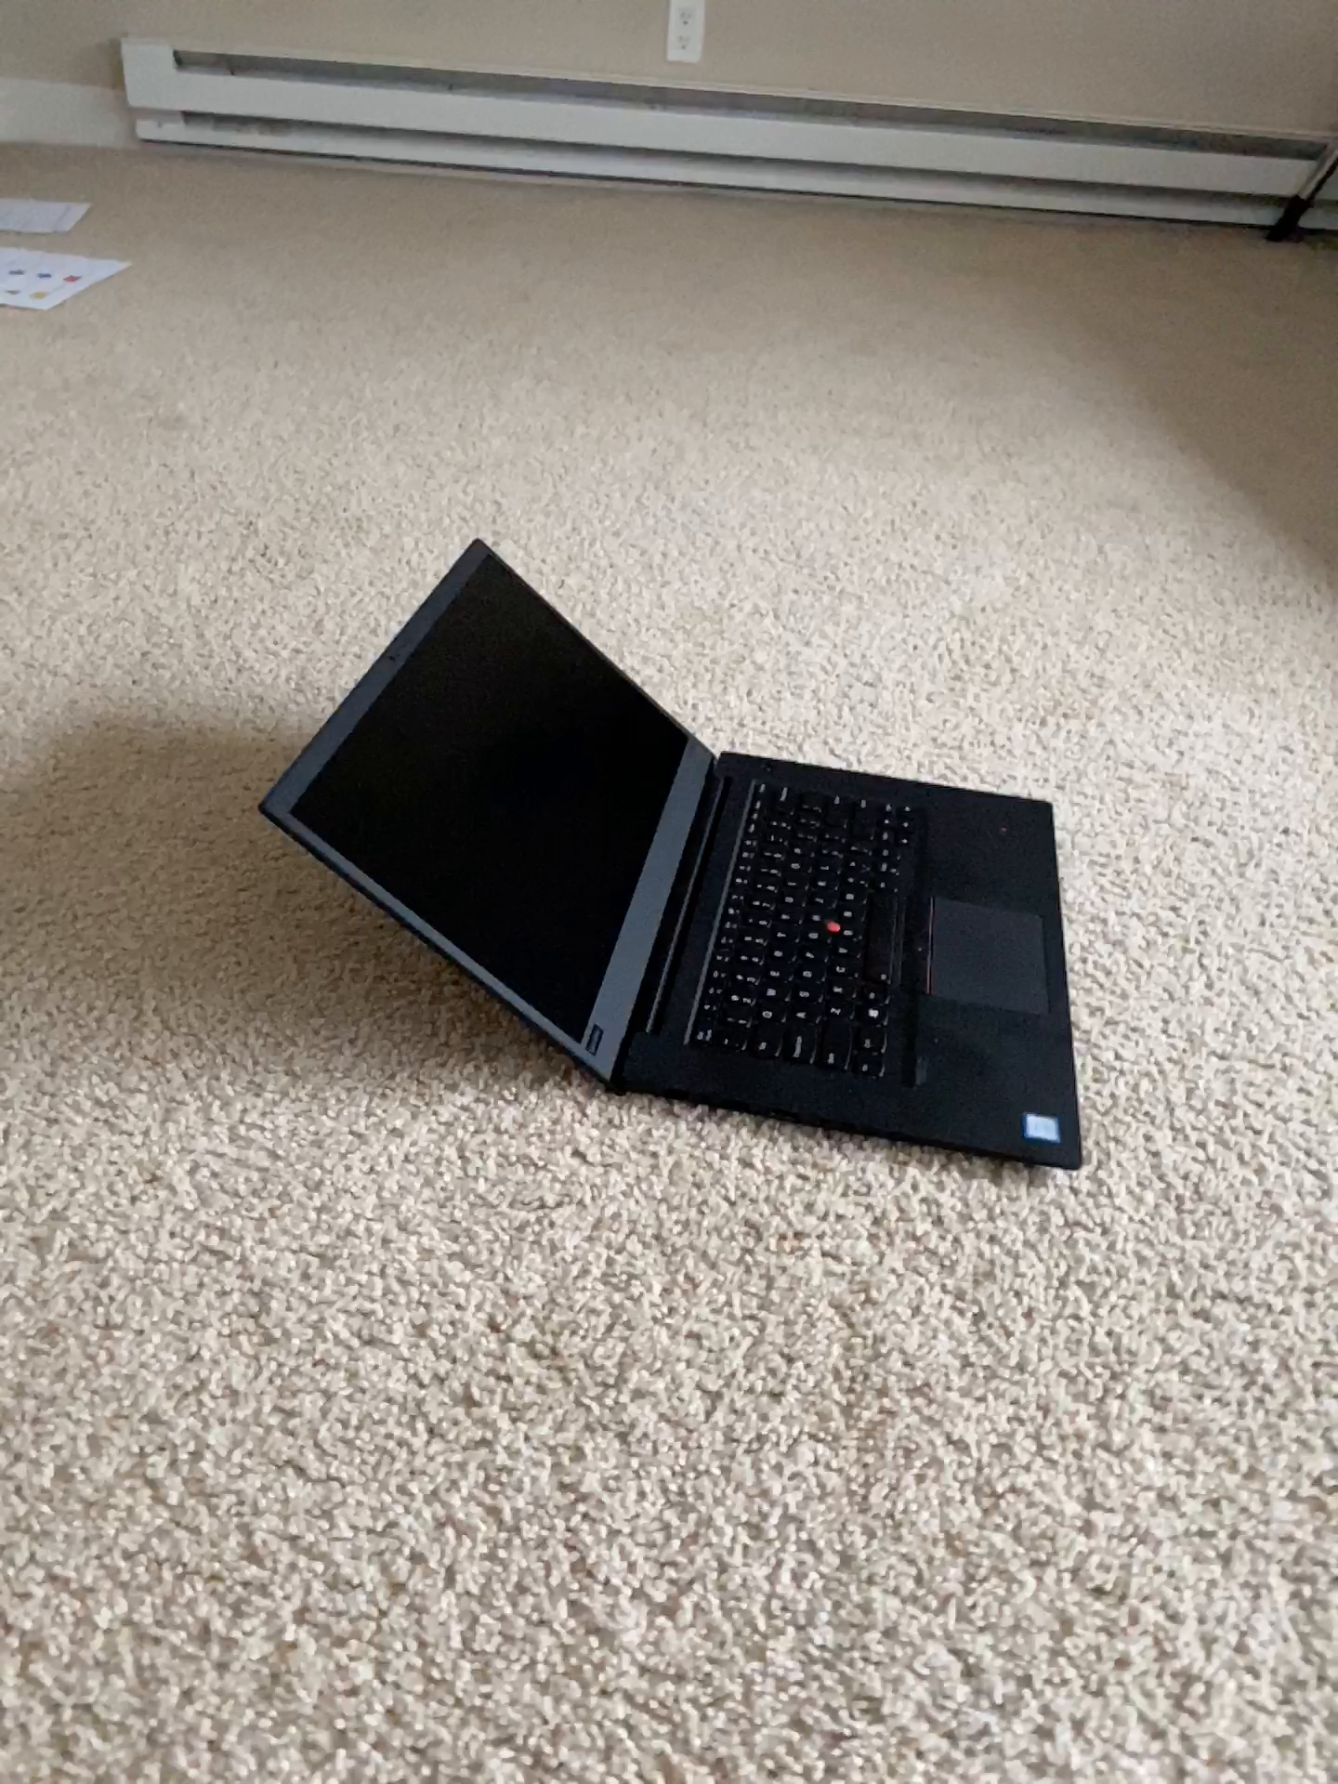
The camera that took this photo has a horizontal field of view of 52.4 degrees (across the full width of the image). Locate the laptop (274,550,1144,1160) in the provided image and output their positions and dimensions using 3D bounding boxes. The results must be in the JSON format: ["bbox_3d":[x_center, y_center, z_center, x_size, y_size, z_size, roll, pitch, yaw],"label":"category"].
[{"bbox_3d":[0.040,-0.052,0.851,0.432,0.141,0.362,9,36,6],"label":"laptop"}]
